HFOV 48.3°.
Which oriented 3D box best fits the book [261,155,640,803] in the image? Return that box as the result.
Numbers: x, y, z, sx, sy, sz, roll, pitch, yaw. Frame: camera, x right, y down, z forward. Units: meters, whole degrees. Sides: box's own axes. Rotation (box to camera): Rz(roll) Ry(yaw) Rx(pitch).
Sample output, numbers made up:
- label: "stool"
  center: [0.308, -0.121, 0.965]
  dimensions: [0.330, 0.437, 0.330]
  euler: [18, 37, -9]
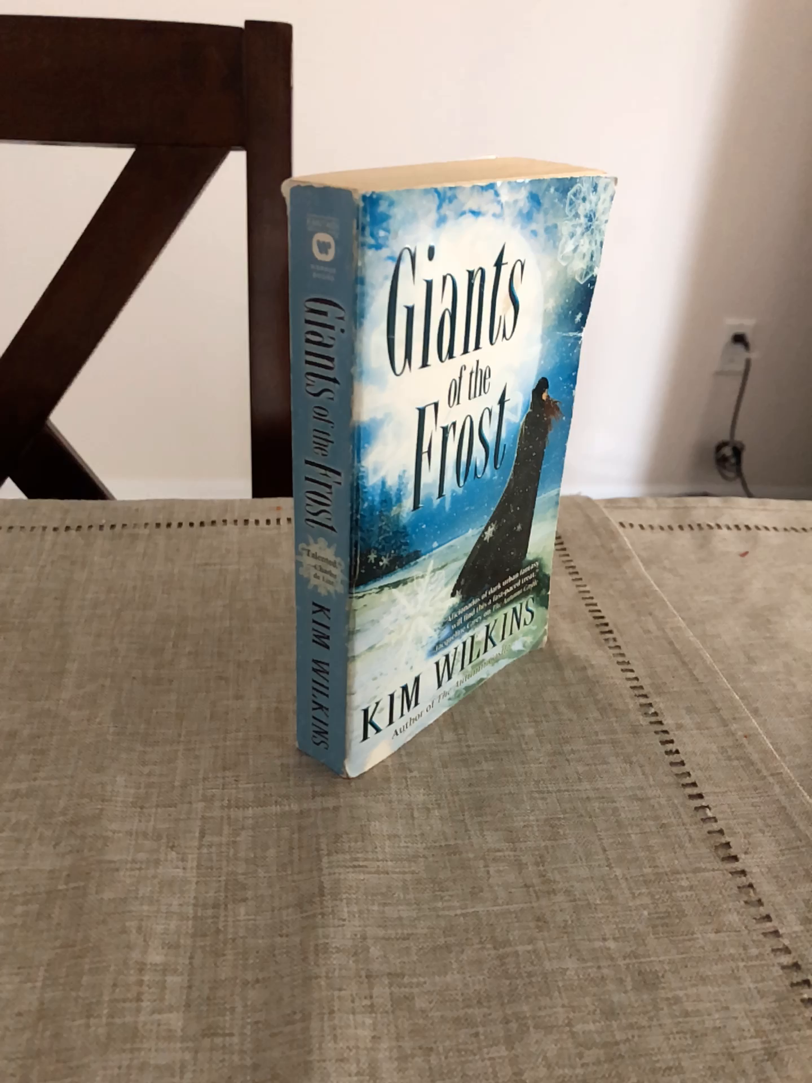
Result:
- label: "book"
  center: [0.014, -0.023, 0.278]
  dimensions: [0.043, 0.168, 0.111]
  euler: [22, 33, 33]
